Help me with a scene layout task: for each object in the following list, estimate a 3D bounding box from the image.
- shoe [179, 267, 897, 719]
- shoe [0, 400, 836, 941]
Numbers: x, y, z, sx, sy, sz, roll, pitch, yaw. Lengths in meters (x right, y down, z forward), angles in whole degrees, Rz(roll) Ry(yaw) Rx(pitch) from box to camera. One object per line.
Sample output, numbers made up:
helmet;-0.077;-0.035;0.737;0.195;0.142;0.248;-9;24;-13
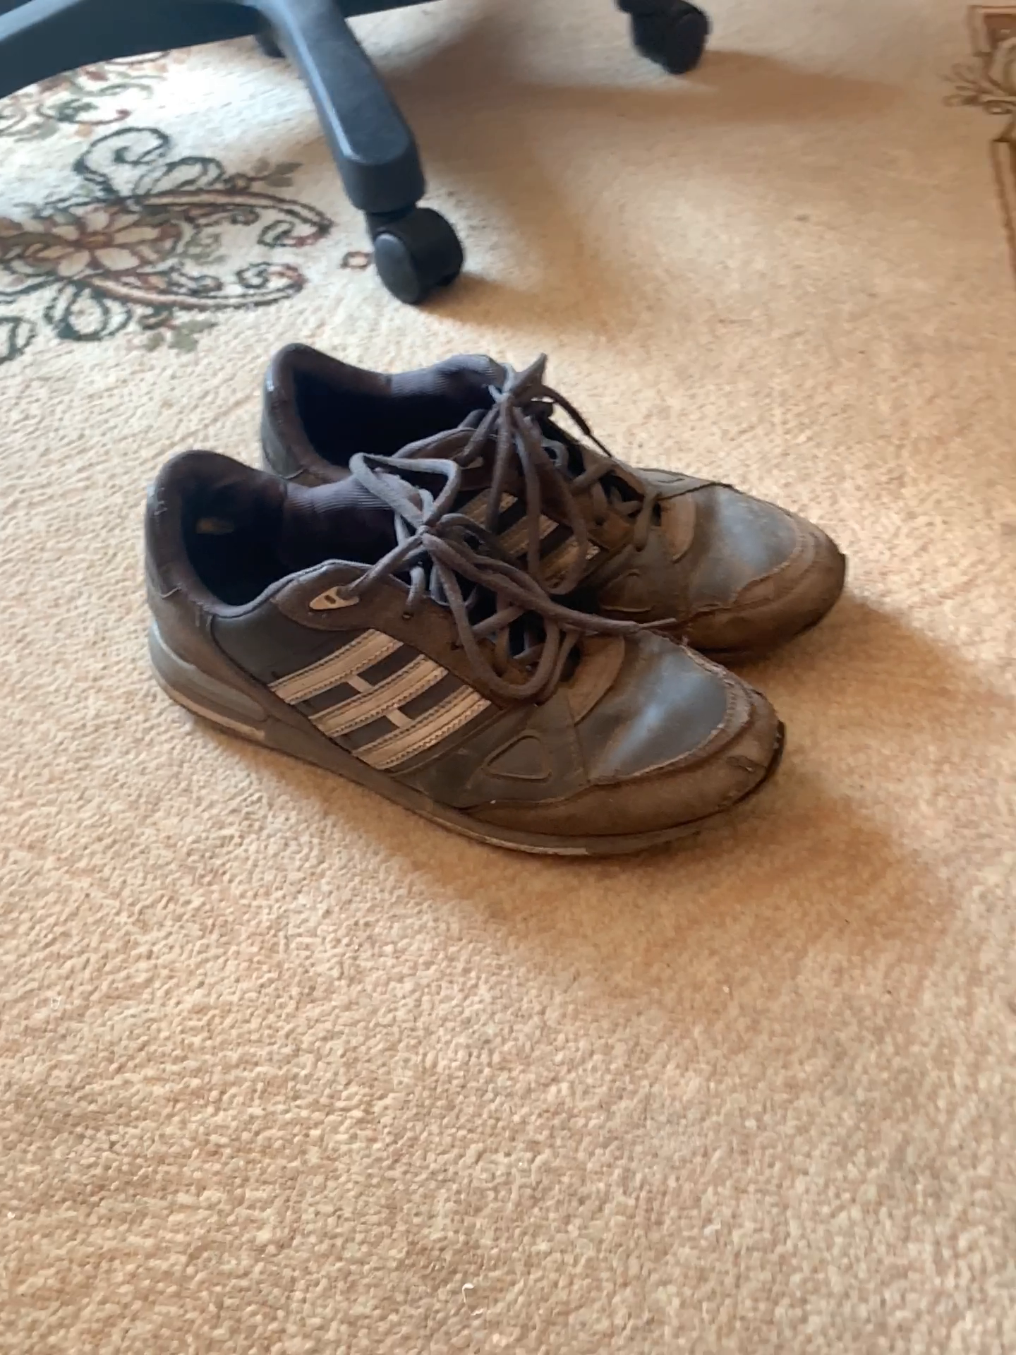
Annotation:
shoe;0.013;-0.100;0.526;0.310;0.099;0.121;17;56;15
shoe;-0.037;-0.011;0.456;0.313;0.099;0.117;17;56;15
